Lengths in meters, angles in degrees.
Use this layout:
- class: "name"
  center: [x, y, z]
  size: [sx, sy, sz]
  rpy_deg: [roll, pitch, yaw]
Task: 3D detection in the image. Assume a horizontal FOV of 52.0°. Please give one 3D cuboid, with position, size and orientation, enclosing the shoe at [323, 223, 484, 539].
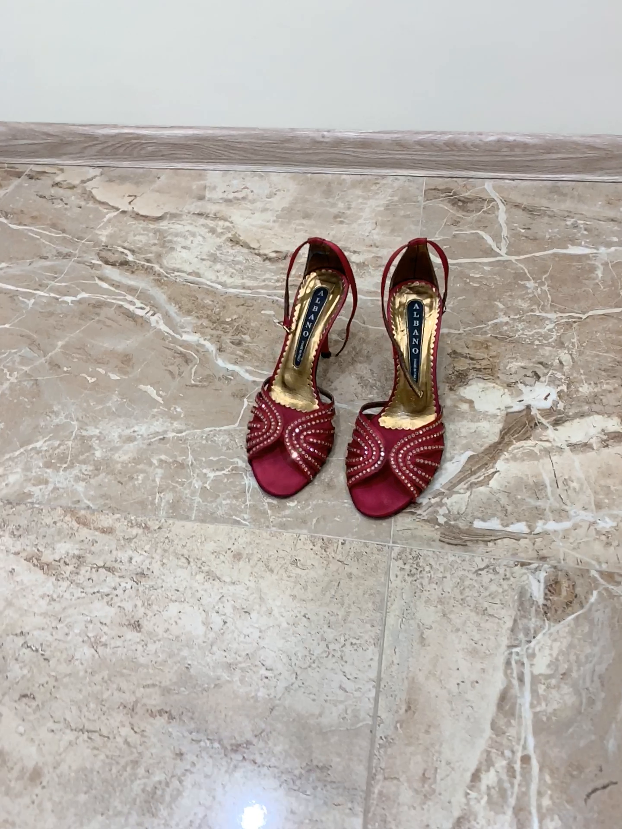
- class: "shoe"
  center: [0.082, -0.036, 0.540]
  size: [0.090, 0.129, 0.231]
  rpy_deg: [9, 51, 11]

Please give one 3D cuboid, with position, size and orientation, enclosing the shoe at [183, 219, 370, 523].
- class: "shoe"
  center: [-0.015, -0.045, 0.557]
  size: [0.090, 0.129, 0.231]
  rpy_deg: [9, 51, 11]
